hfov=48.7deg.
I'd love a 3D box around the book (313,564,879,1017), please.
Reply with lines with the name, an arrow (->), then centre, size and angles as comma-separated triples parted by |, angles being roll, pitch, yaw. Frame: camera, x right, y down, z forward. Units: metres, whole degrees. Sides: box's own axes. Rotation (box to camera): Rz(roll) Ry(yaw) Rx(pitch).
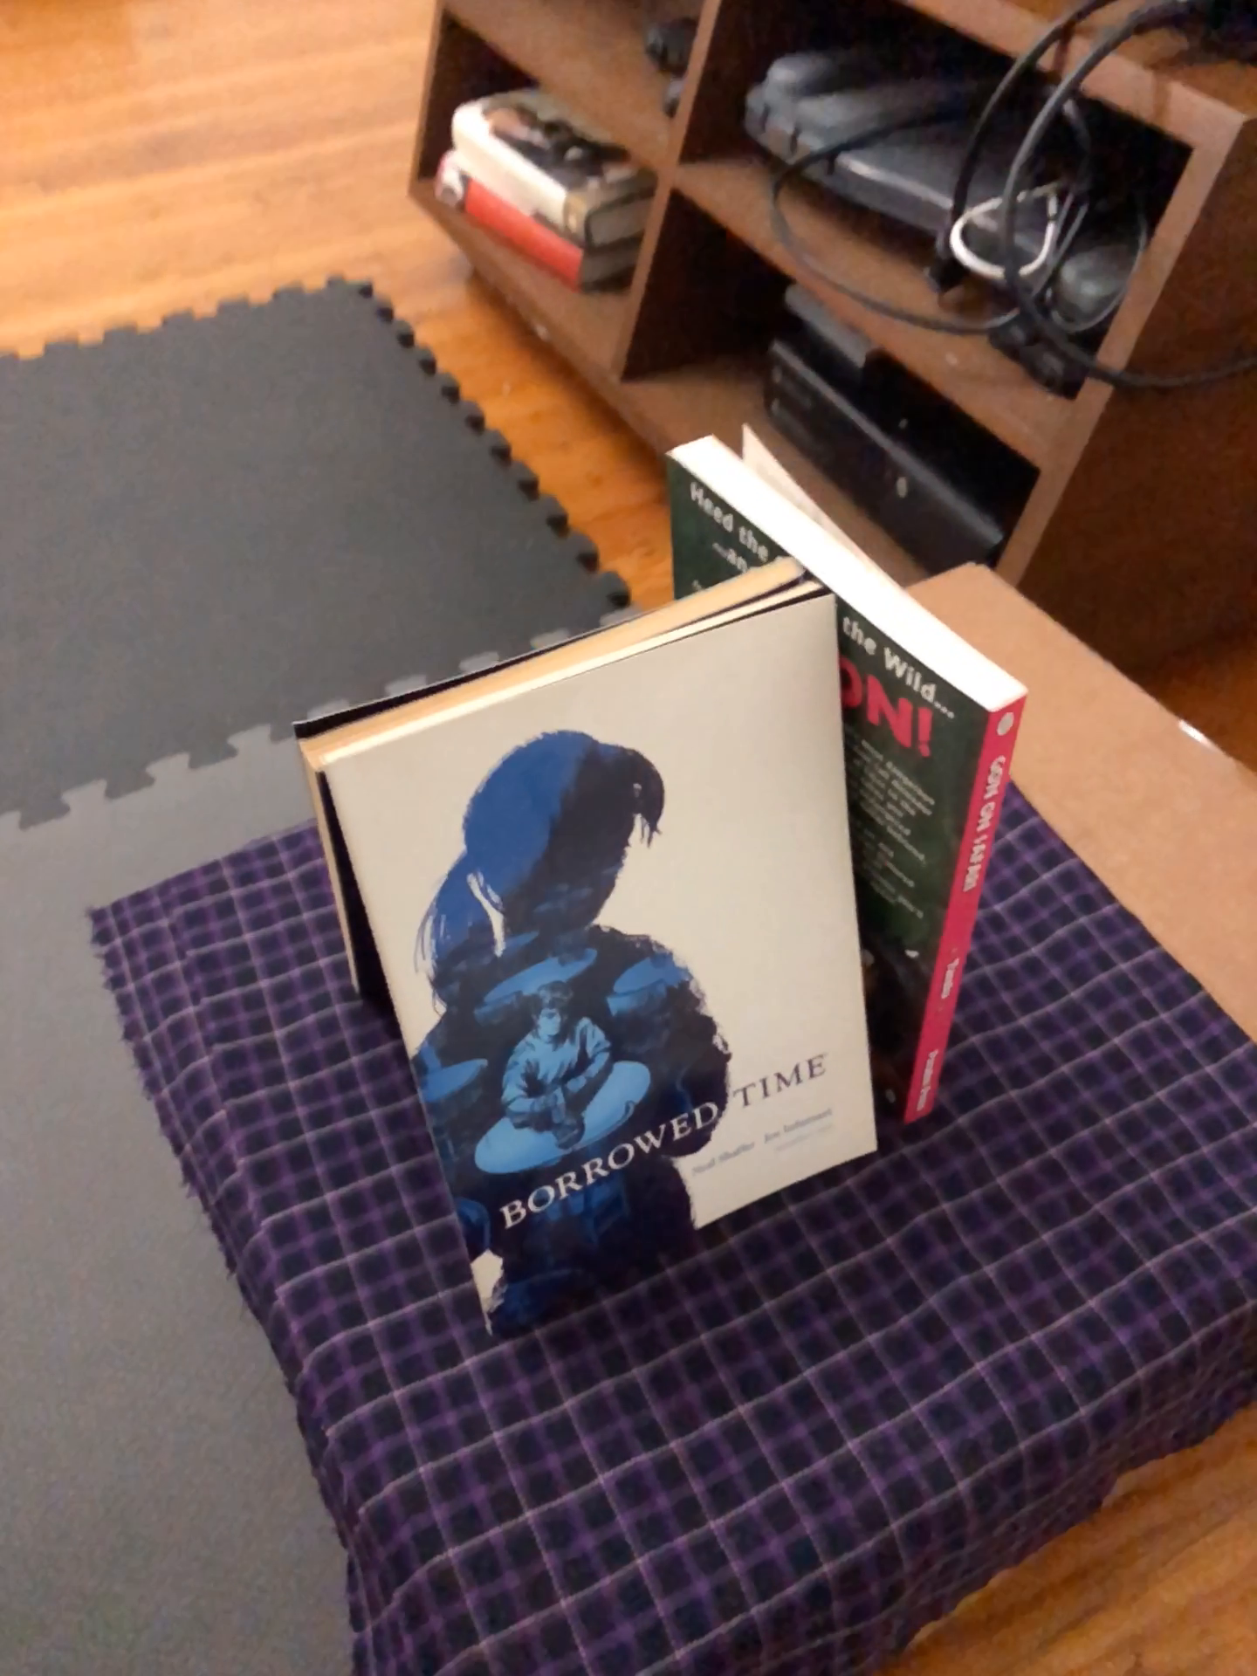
book -> -0.017, -0.004, 0.435 | 0.150, 0.199, 0.010 | -20, 71, -16

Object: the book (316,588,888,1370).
book -> 0.007, 0.045, 0.386 | 0.140, 0.199, 0.010 | -21, 32, -19

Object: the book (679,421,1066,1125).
book -> 0.068, -0.013, 0.434 | 0.020, 0.189, 0.141 | -27, 53, -14
